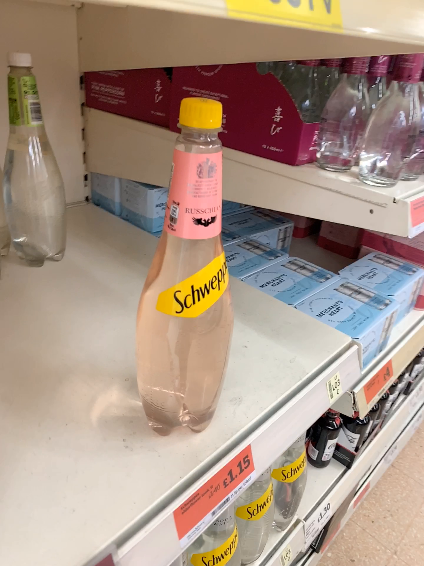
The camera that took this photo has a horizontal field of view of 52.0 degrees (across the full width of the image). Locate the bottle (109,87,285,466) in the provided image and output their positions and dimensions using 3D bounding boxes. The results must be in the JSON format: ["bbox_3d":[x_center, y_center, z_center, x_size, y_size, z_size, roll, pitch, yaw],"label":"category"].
[{"bbox_3d":[-0.026,0.003,0.370,0.085,0.299,0.090,5,29,-3],"label":"bottle"}]
